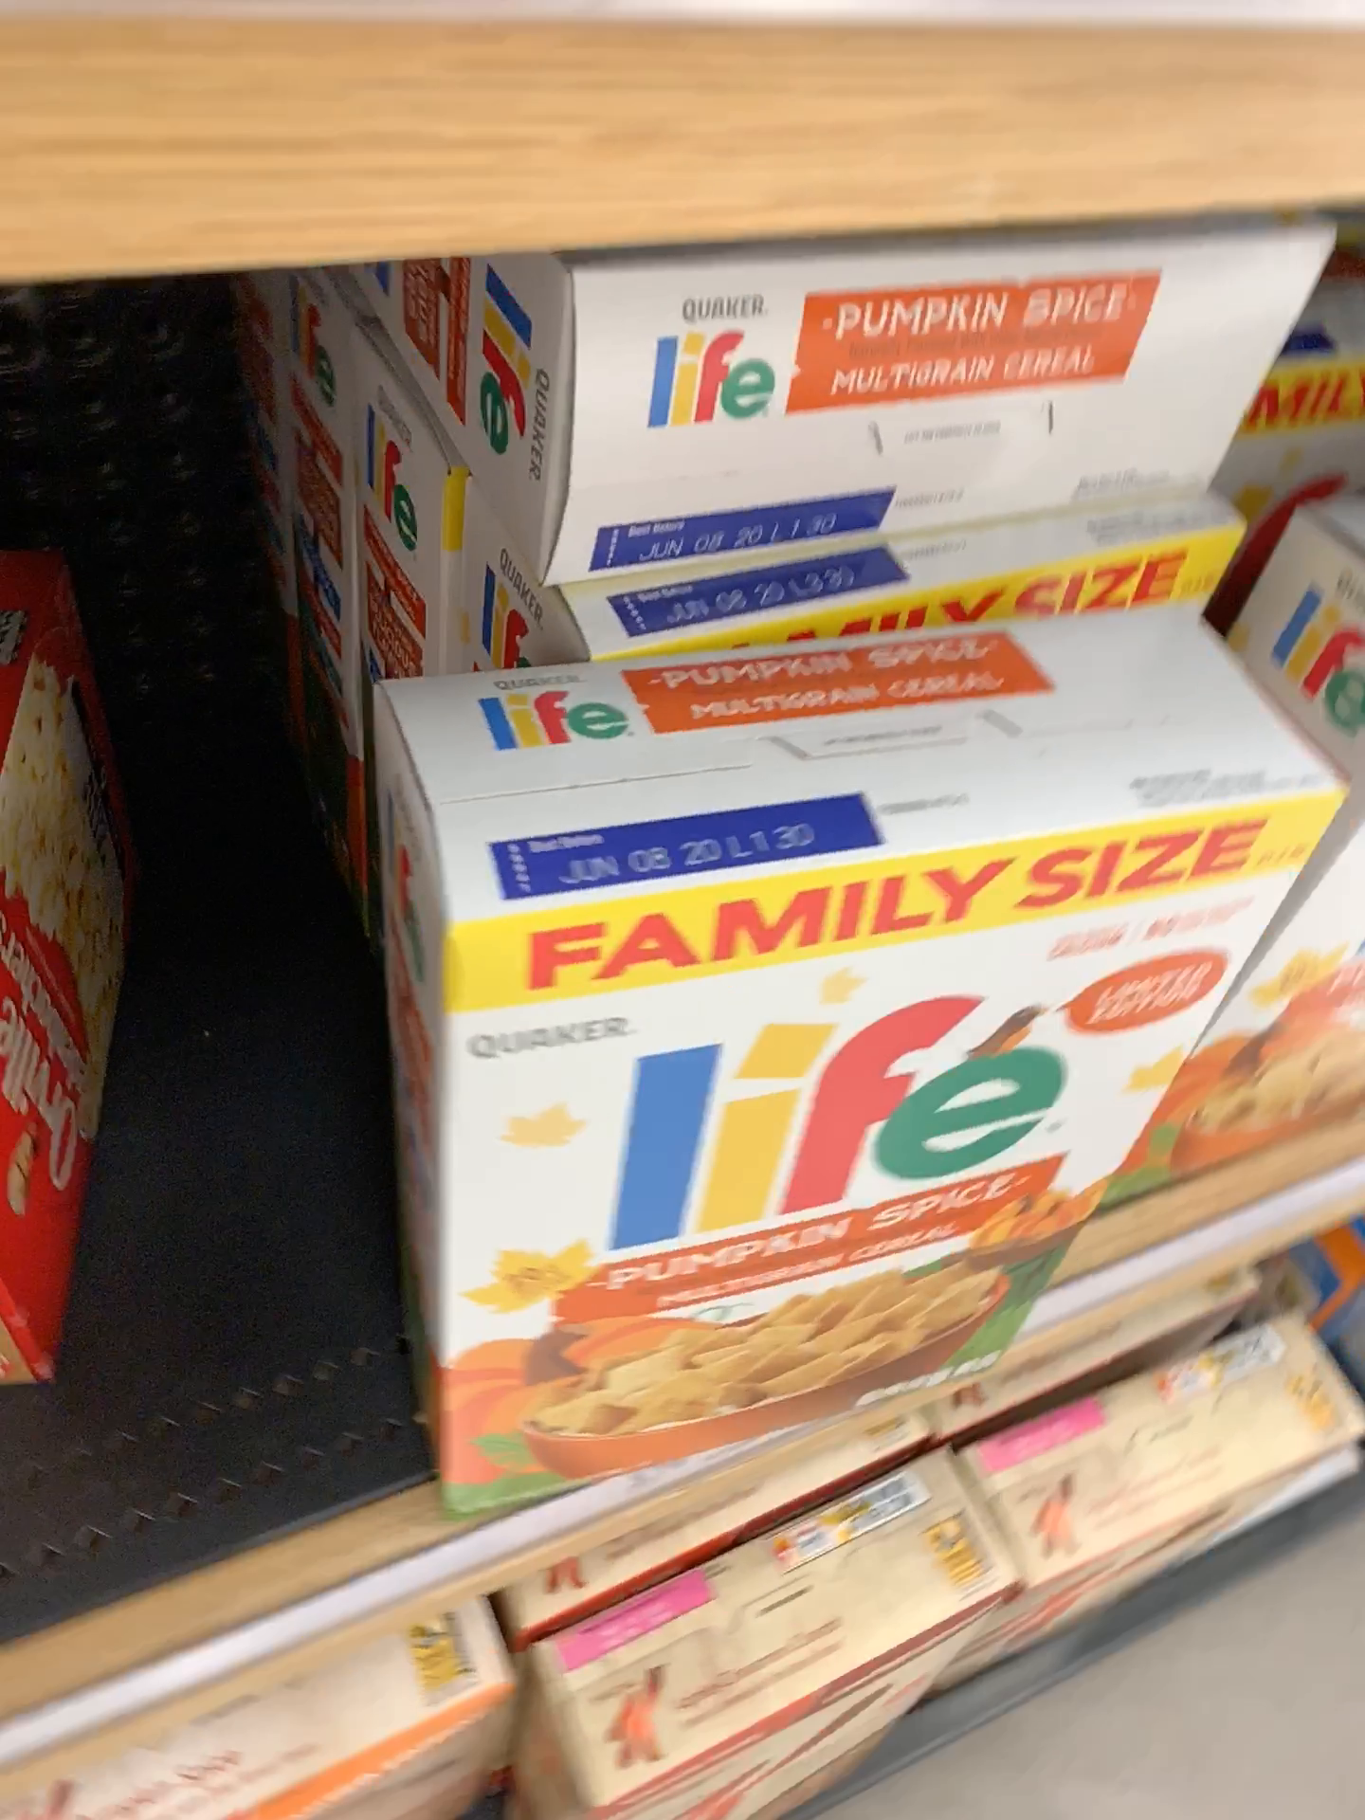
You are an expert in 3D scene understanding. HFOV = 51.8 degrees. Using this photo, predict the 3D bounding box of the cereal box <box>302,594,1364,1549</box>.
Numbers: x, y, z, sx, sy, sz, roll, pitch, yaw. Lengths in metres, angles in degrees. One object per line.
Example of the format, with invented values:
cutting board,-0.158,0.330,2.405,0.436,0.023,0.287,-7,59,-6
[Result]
cereal box,0.018,0.053,0.358,0.200,0.249,0.070,-8,48,-18
